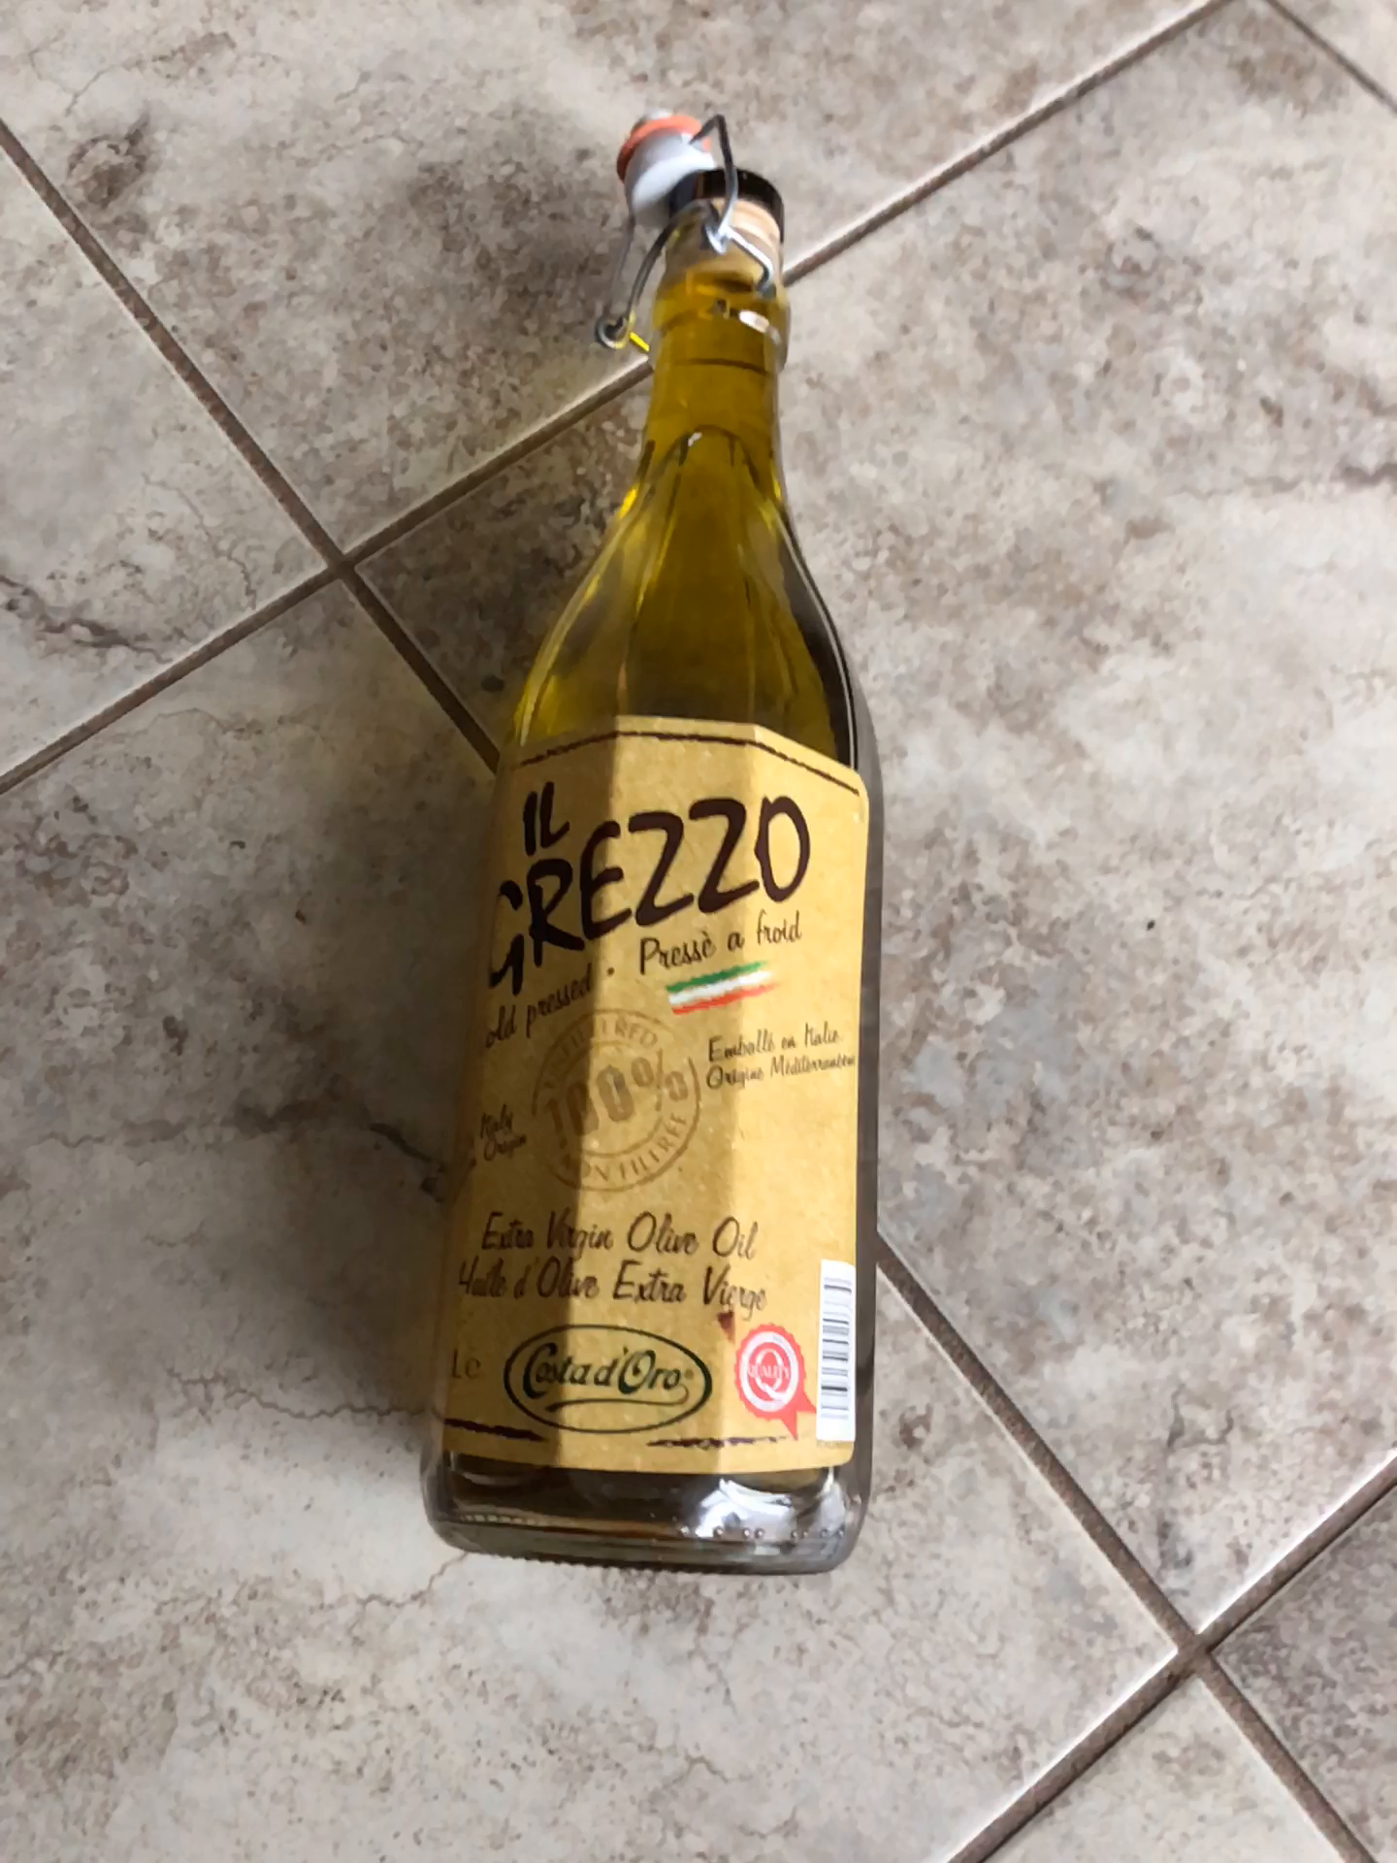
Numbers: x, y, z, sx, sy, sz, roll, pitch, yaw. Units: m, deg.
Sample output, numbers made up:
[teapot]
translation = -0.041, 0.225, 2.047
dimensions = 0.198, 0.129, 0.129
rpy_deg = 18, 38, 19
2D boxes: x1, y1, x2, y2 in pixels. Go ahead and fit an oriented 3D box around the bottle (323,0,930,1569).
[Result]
[bottle]
translation = -0.004, -0.057, 0.334
dimensions = 0.090, 0.100, 0.350
rpy_deg = 3, 71, 0
